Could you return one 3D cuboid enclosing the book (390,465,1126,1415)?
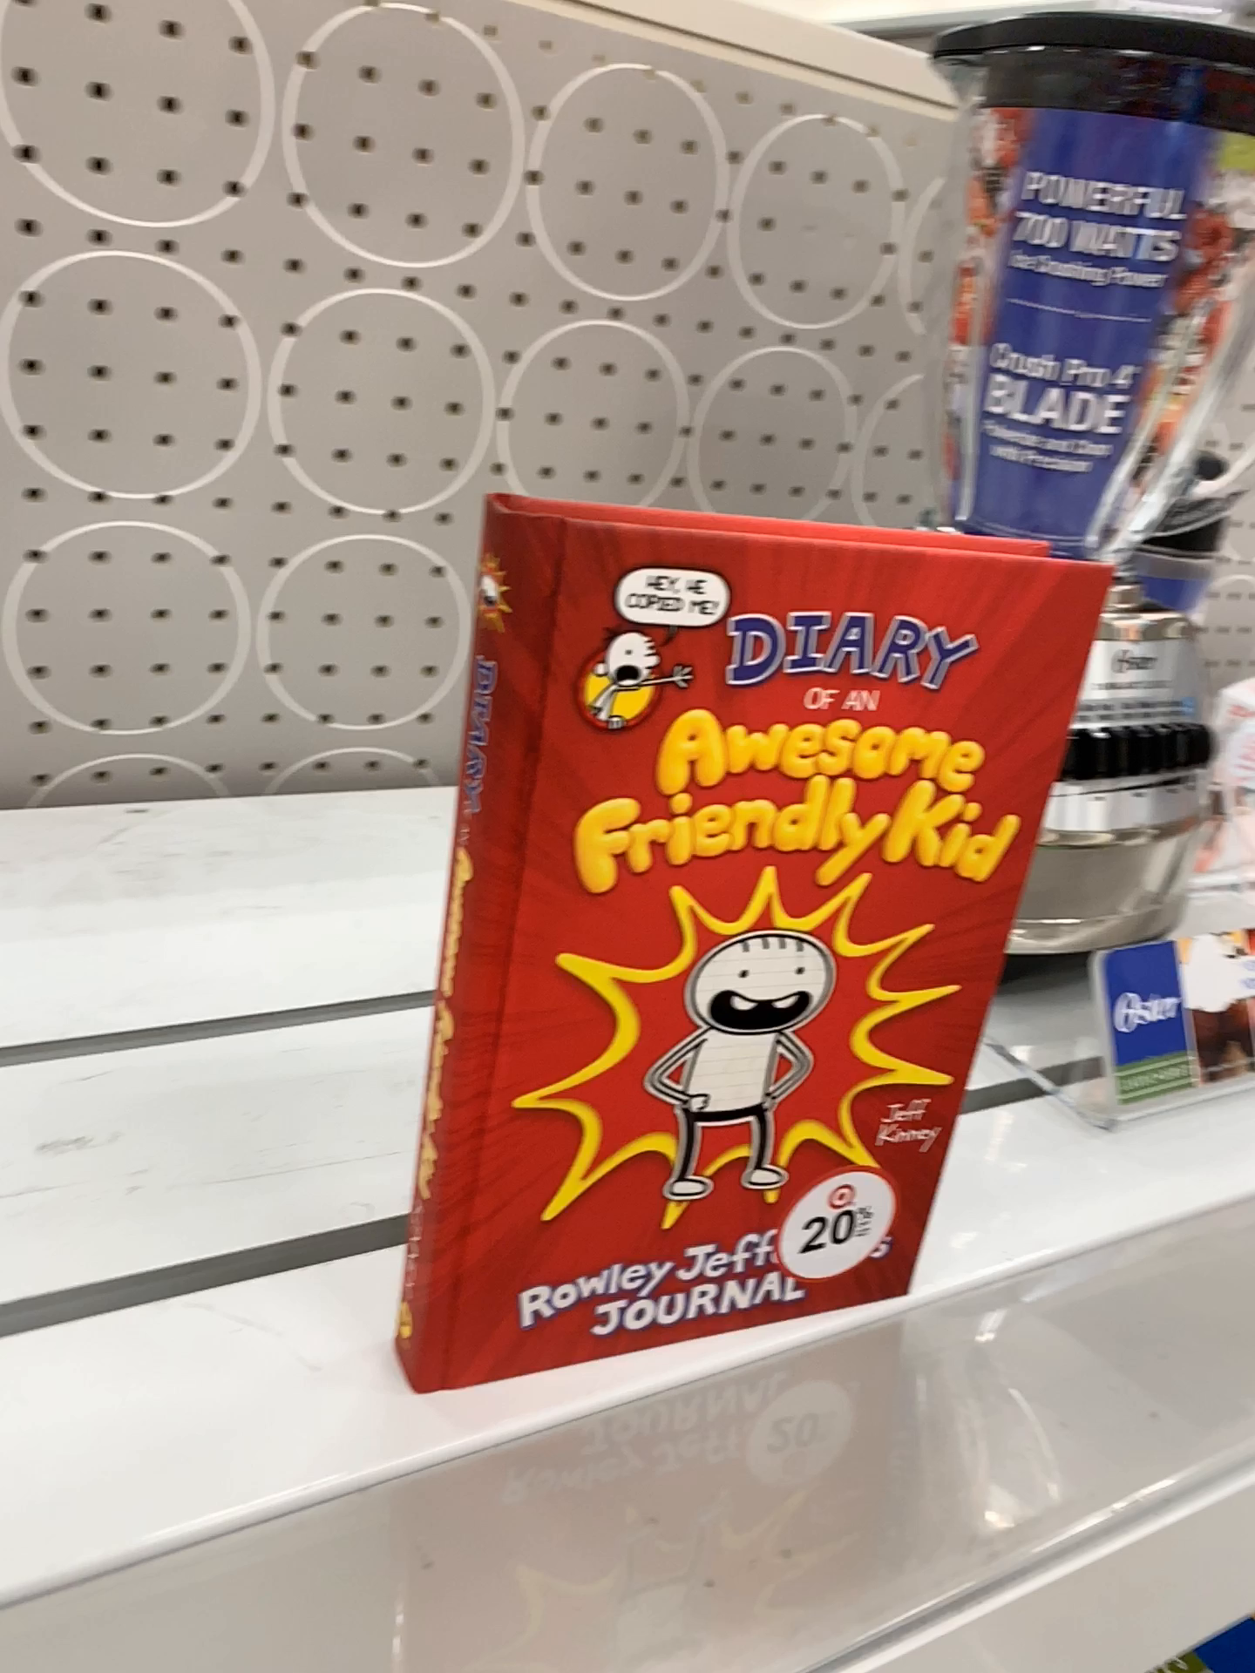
[{"bbox_3d":[0.025,0.029,0.304,0.140,0.209,0.030,-2,24,-26],"label":"book"}]
